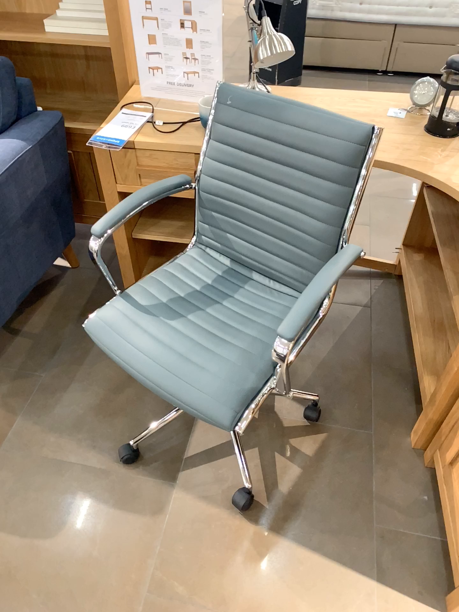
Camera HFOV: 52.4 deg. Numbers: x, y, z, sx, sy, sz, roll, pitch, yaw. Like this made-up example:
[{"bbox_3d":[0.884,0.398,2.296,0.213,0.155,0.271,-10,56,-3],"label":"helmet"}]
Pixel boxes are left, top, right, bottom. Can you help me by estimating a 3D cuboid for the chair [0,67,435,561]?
[{"bbox_3d":[-0.046,0.002,1.241,0.666,0.883,0.711,29,52,26],"label":"chair"}]
